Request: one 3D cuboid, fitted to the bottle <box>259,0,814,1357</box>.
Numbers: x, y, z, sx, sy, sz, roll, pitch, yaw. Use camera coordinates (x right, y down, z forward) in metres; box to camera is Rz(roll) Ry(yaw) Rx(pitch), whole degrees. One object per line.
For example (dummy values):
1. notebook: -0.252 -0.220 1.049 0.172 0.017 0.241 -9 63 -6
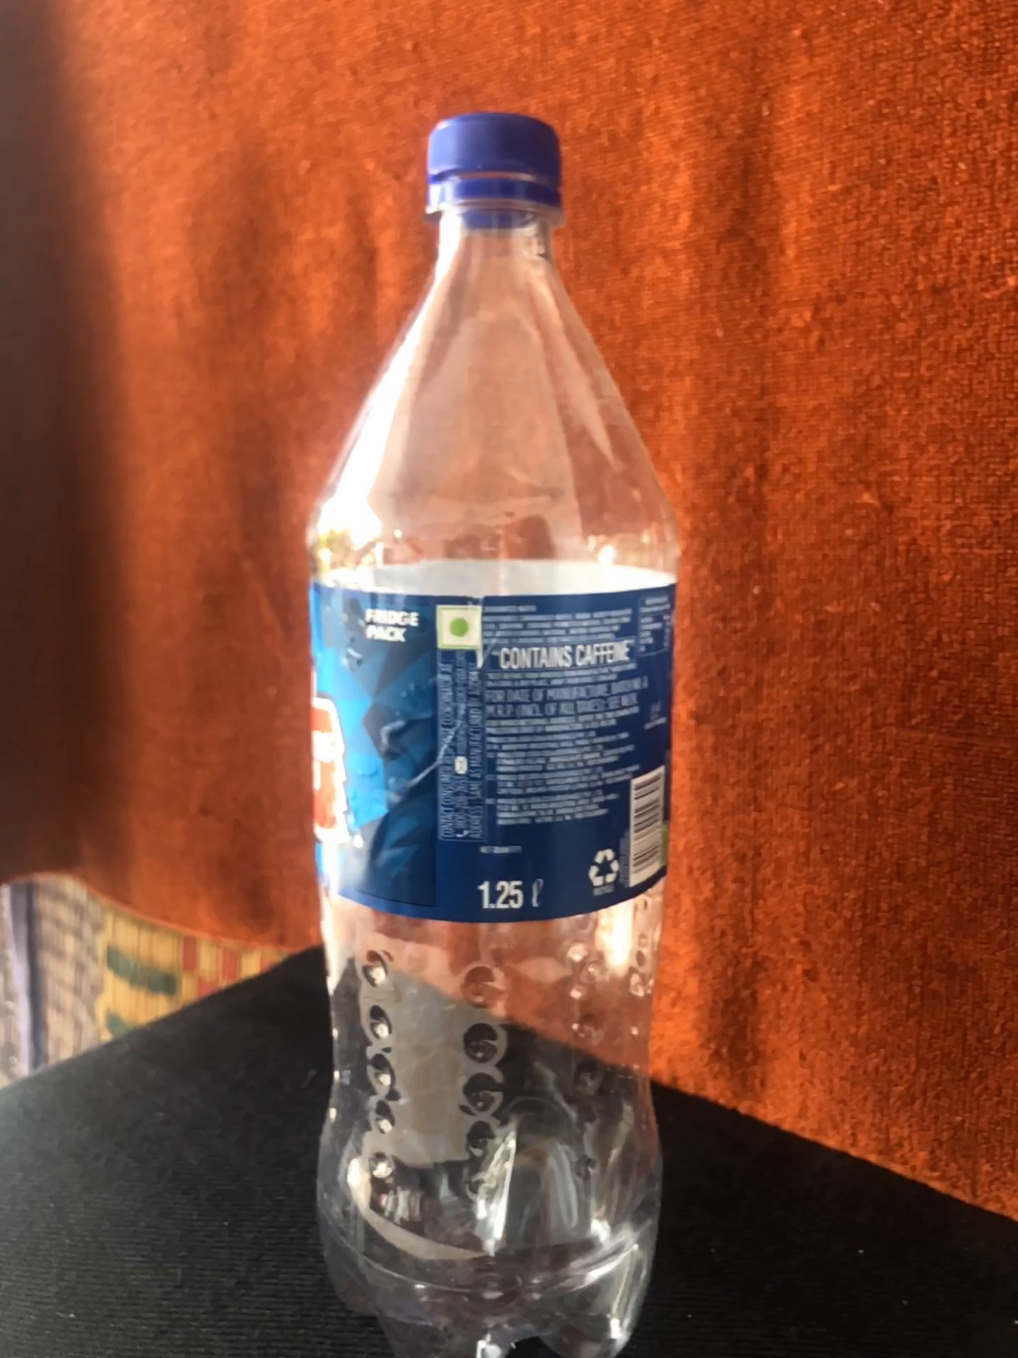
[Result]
1. bottle: 0.000 0.009 0.262 0.090 0.289 0.100 -2 12 -8
